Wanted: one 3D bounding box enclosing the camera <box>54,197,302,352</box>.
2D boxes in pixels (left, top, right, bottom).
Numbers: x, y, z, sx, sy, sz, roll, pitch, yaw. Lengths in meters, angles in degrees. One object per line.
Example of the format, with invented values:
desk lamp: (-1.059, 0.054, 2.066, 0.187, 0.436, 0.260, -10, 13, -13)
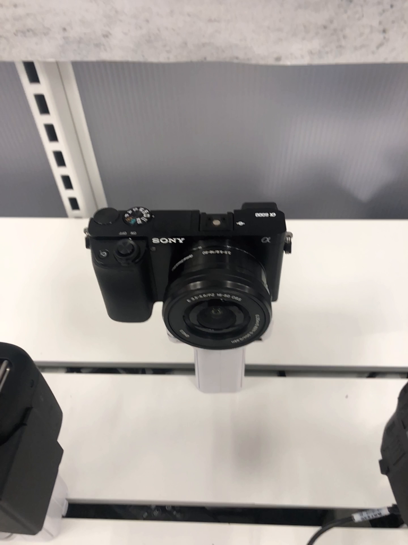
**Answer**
camera: (-0.012, 0.001, 0.263, 0.120, 0.058, 0.068, 0, 50, 1)
